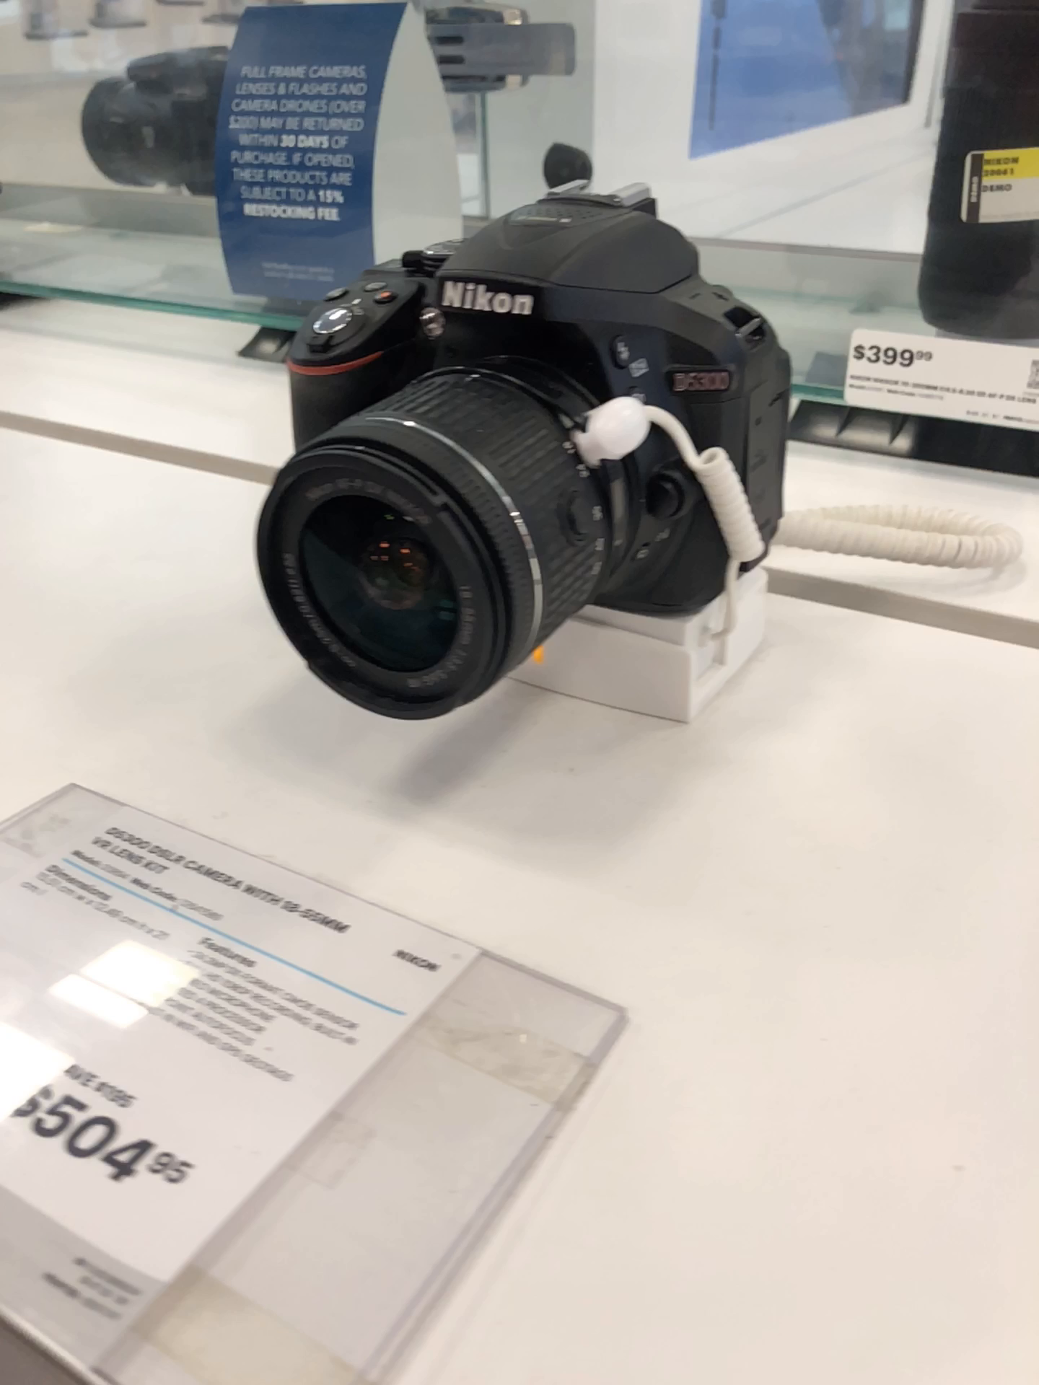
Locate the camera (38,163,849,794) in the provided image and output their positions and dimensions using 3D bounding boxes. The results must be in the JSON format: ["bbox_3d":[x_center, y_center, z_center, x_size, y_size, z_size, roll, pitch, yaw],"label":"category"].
[{"bbox_3d":[-0.008,-0.069,0.290,0.130,0.100,0.140,15,33,26],"label":"camera"}]
